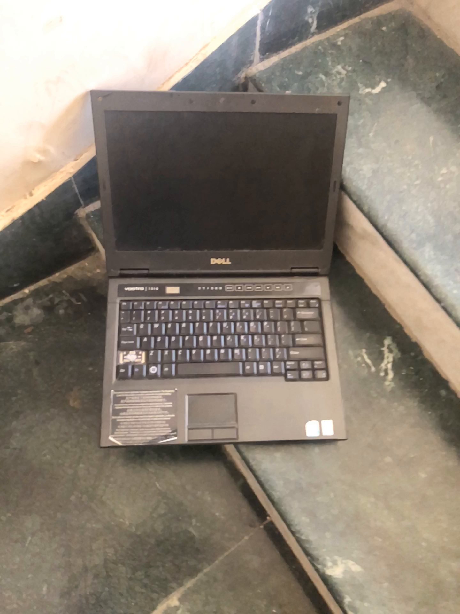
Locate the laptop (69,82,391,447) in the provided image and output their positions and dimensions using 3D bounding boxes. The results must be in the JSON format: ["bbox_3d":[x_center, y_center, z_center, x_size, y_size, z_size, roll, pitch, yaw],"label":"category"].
[{"bbox_3d":[-0.008,-0.046,0.614,0.302,0.169,0.387,0,71,-4],"label":"laptop"}]
